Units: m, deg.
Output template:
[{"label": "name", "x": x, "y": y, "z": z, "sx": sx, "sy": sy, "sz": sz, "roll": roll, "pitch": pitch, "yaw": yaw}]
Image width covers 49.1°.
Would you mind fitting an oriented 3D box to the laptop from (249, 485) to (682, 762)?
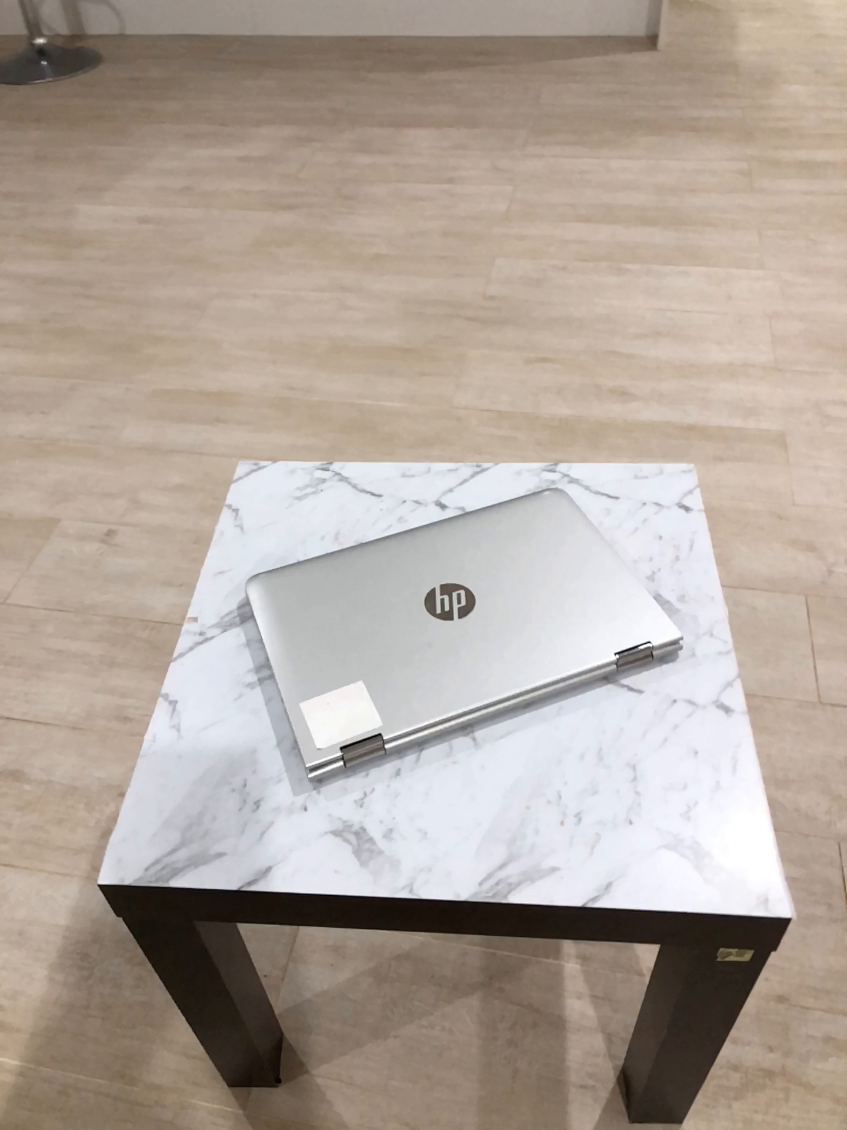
[{"label": "laptop", "x": 0.026, "y": 0.032, "z": 0.743, "sx": 0.292, "sy": 0.001, "sz": 0.198, "roll": -17, "pitch": 46, "yaw": -14}]
